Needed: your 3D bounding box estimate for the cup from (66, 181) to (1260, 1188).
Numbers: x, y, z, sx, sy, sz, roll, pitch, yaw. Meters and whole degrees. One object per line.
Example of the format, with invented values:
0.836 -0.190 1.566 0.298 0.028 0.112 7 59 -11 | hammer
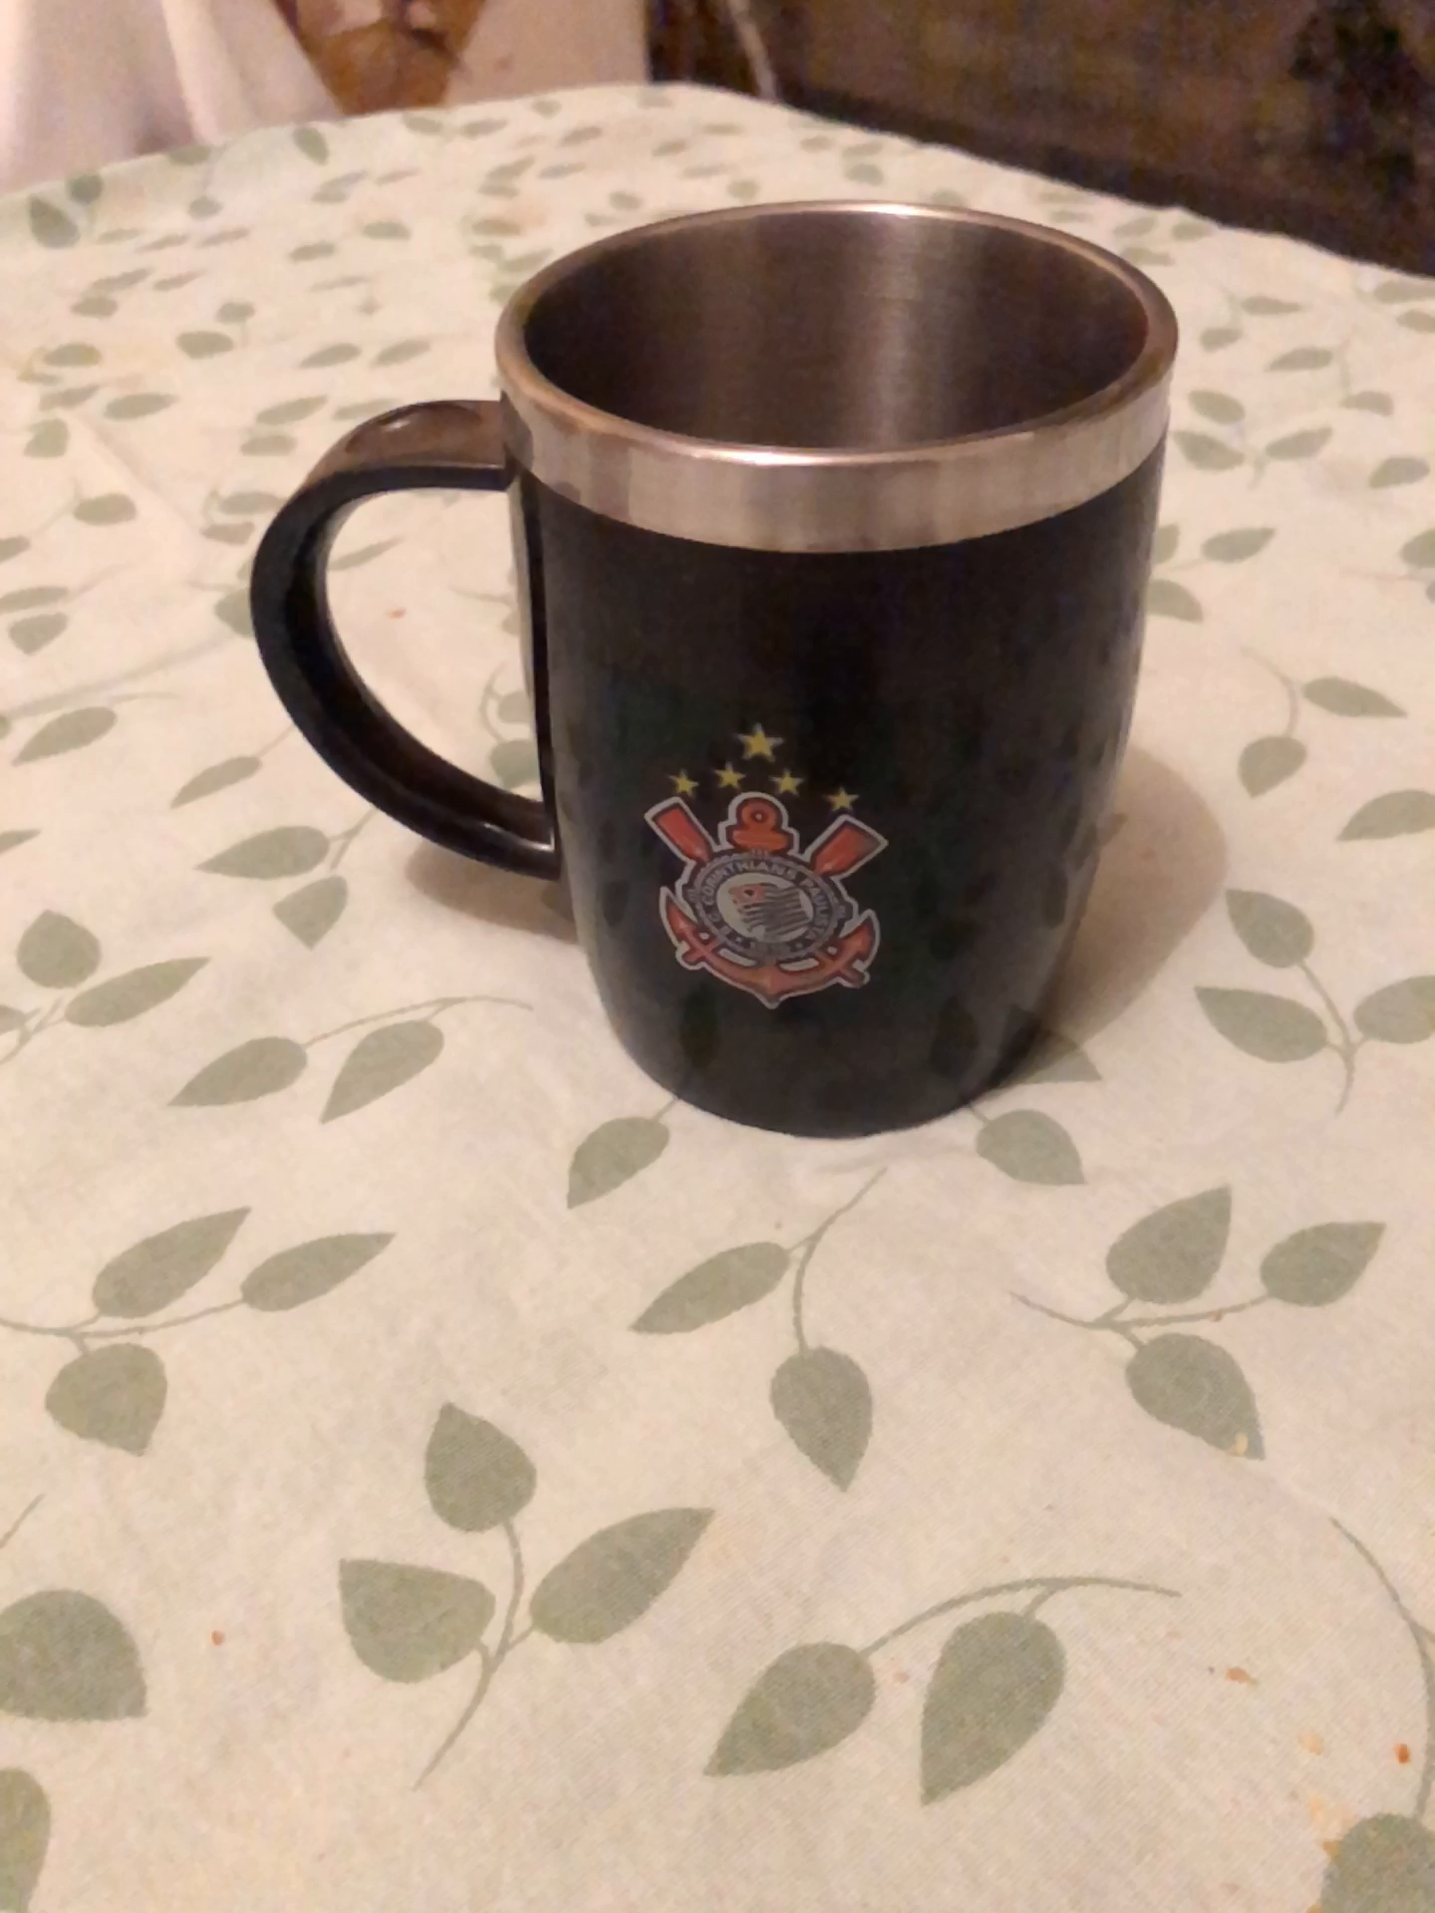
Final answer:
-0.002 -0.041 0.246 0.130 0.119 0.091 1 42 5 | cup
